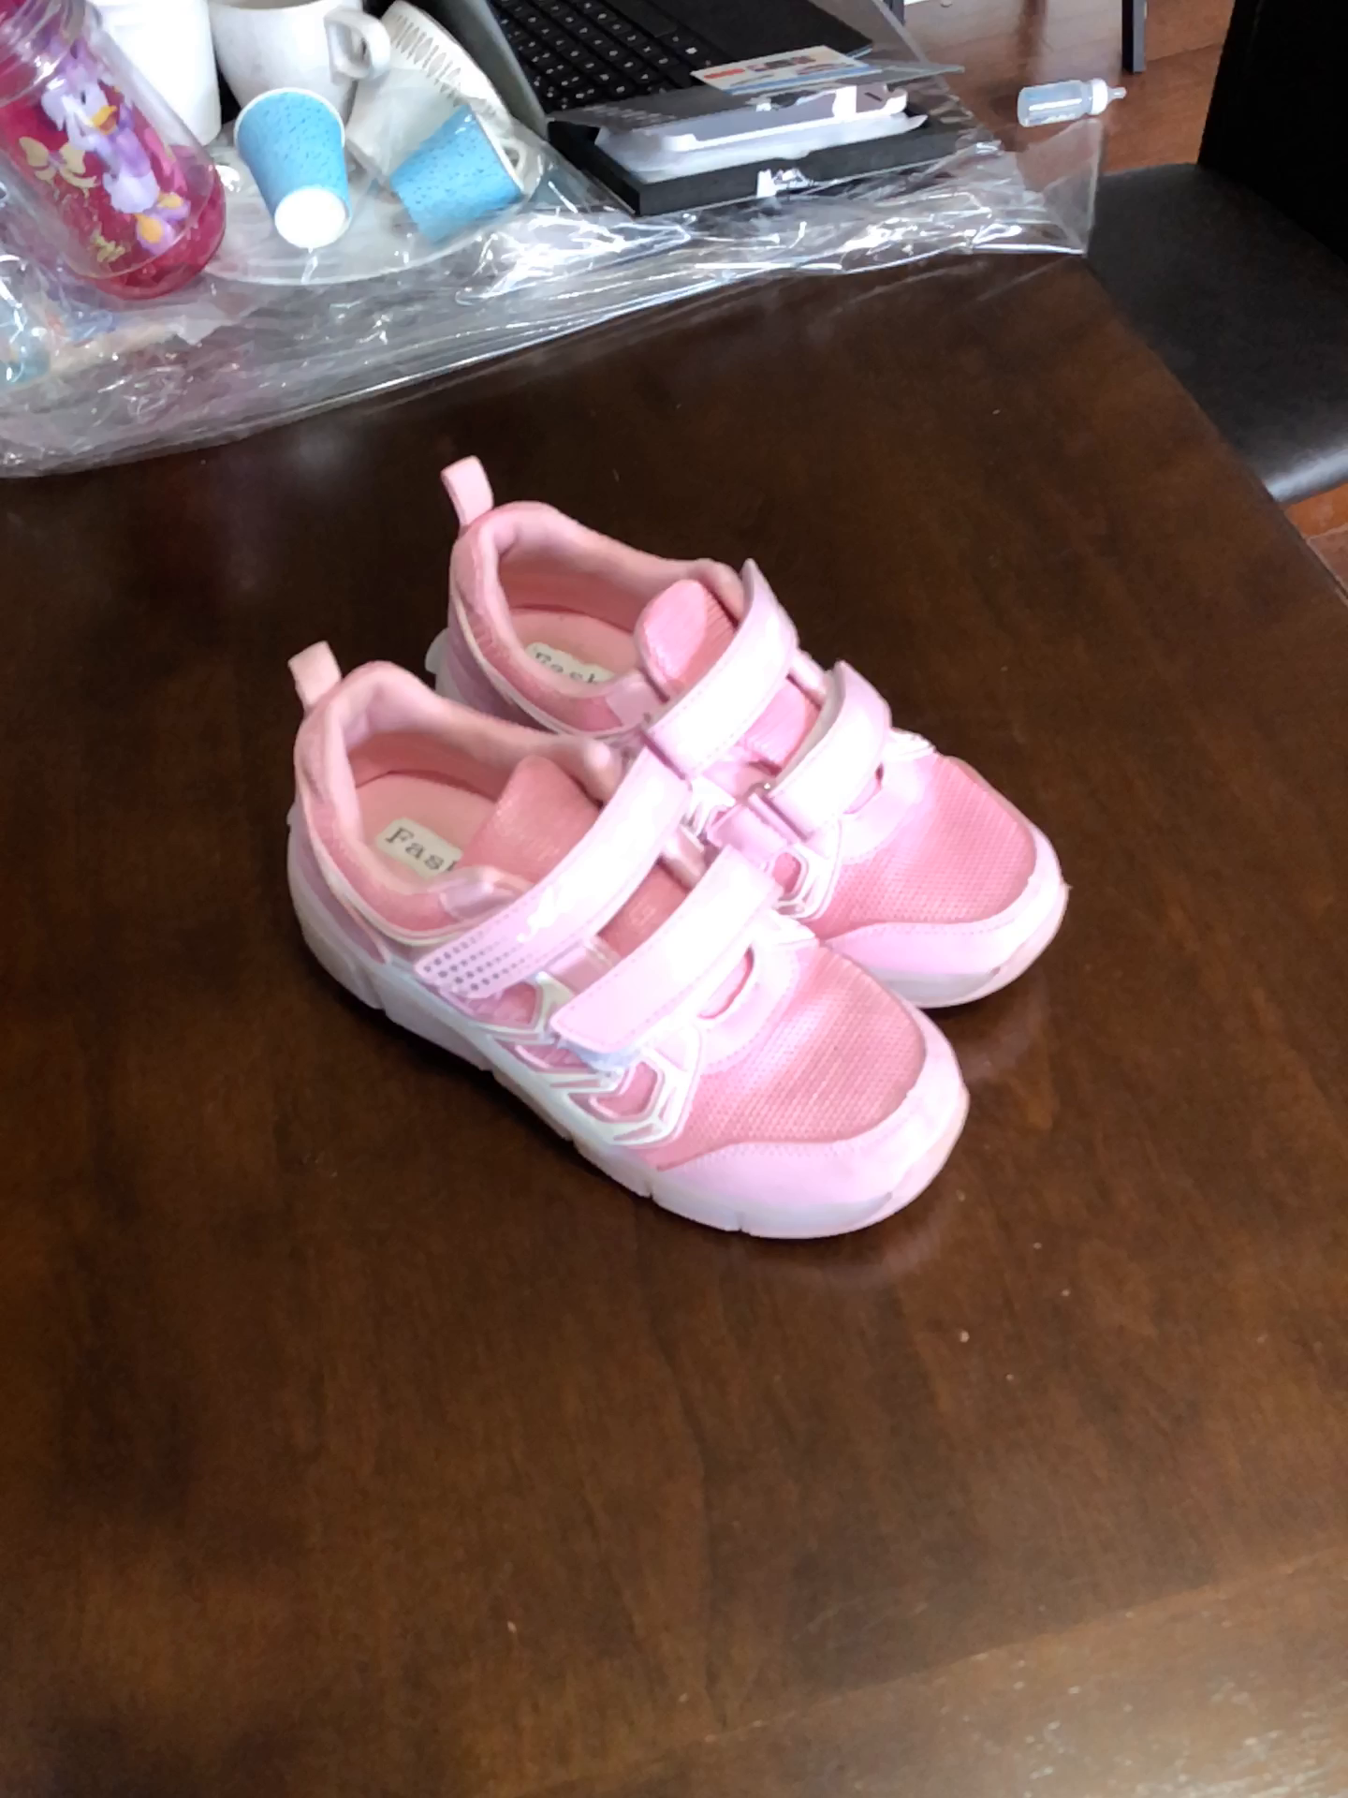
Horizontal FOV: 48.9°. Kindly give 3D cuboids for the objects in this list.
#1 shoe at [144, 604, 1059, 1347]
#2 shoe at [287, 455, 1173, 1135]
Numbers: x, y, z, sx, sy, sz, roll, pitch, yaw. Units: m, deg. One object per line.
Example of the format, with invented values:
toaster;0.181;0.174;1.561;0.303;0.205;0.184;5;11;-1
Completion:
shoe;-0.023;0.017;0.467;0.250;0.110;0.100;24;61;23
shoe;0.016;-0.043;0.513;0.260;0.110;0.110;23;60;22
